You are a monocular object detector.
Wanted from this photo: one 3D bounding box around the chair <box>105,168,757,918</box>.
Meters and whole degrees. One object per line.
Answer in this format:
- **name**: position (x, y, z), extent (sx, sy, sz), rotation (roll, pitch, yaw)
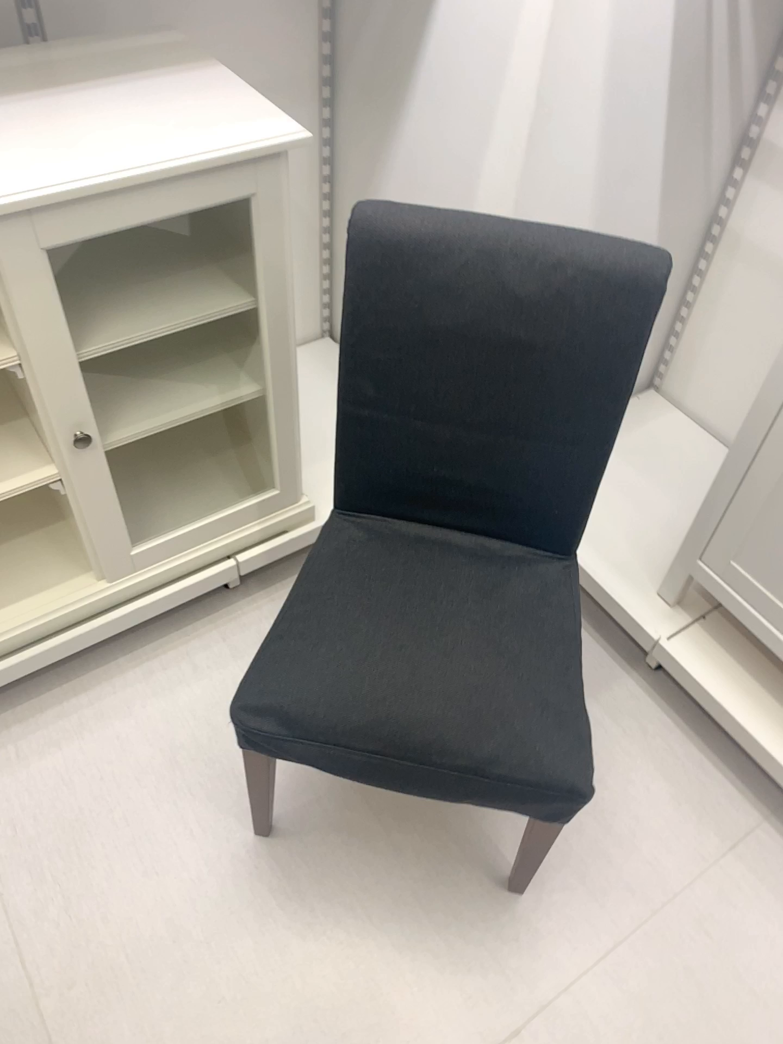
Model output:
- **chair**: position (0.058, 0.072, 1.166), extent (0.540, 0.838, 0.612), rotation (11, 49, 5)
